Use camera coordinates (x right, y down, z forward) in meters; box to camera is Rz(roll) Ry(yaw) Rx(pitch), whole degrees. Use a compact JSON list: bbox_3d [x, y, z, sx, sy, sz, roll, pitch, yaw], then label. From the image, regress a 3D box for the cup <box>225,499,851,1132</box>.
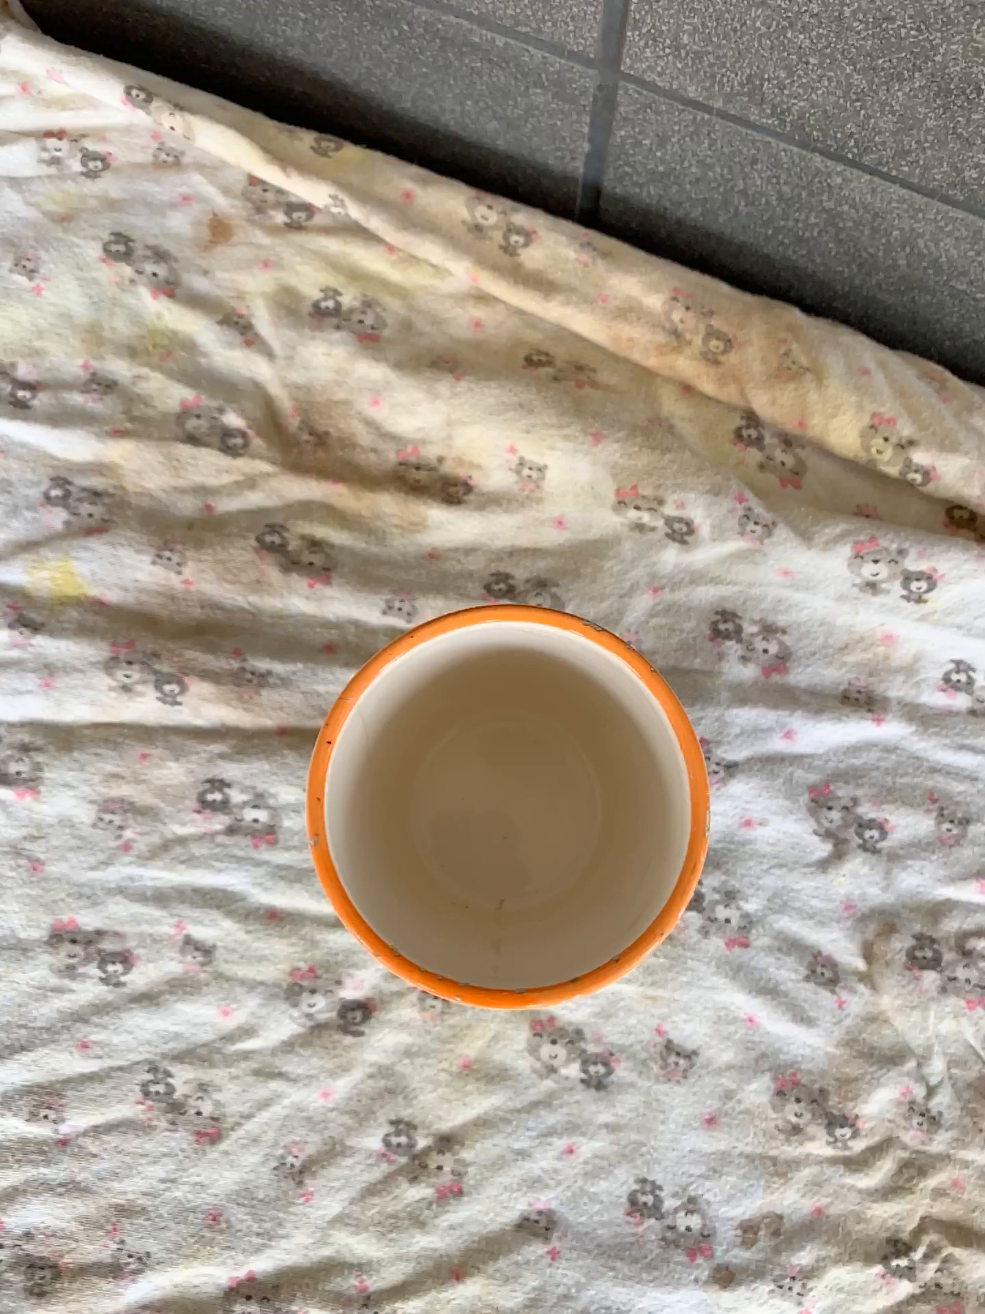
[{"bbox_3d":[0.008,0.034,0.230,0.080,0.090,0.080,0,79,0],"label":"cup"}]
